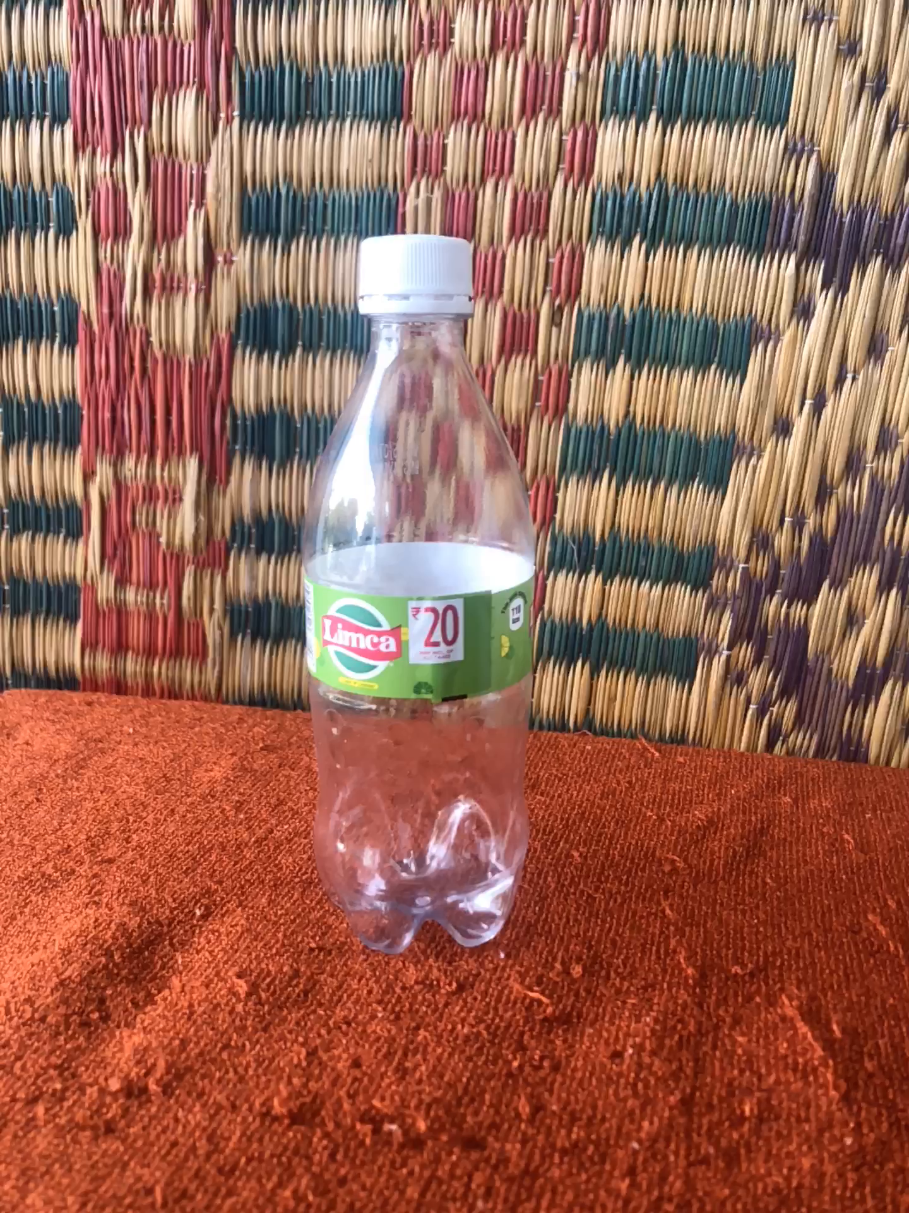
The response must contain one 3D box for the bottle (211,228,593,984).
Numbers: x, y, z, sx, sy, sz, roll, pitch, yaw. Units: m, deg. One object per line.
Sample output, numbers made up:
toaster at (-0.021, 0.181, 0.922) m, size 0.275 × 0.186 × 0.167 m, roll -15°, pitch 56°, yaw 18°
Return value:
bottle at (-0.010, -0.003, 0.228) m, size 0.060 × 0.149 × 0.060 m, roll 2°, pitch 18°, yaw -1°
